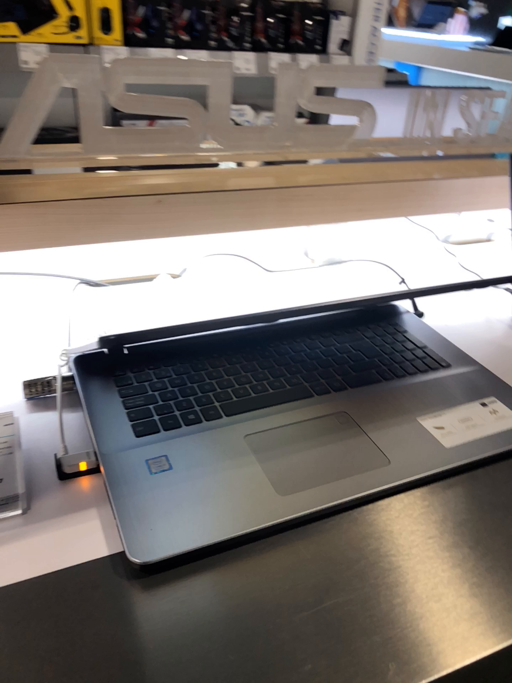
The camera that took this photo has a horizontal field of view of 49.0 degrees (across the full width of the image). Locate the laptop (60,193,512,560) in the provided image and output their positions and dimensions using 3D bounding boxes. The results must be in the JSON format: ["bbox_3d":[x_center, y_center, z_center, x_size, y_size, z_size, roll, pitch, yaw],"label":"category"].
[{"bbox_3d":[0.051,-0.013,0.512,0.391,0.144,0.260,-10,34,-22],"label":"laptop"}]
